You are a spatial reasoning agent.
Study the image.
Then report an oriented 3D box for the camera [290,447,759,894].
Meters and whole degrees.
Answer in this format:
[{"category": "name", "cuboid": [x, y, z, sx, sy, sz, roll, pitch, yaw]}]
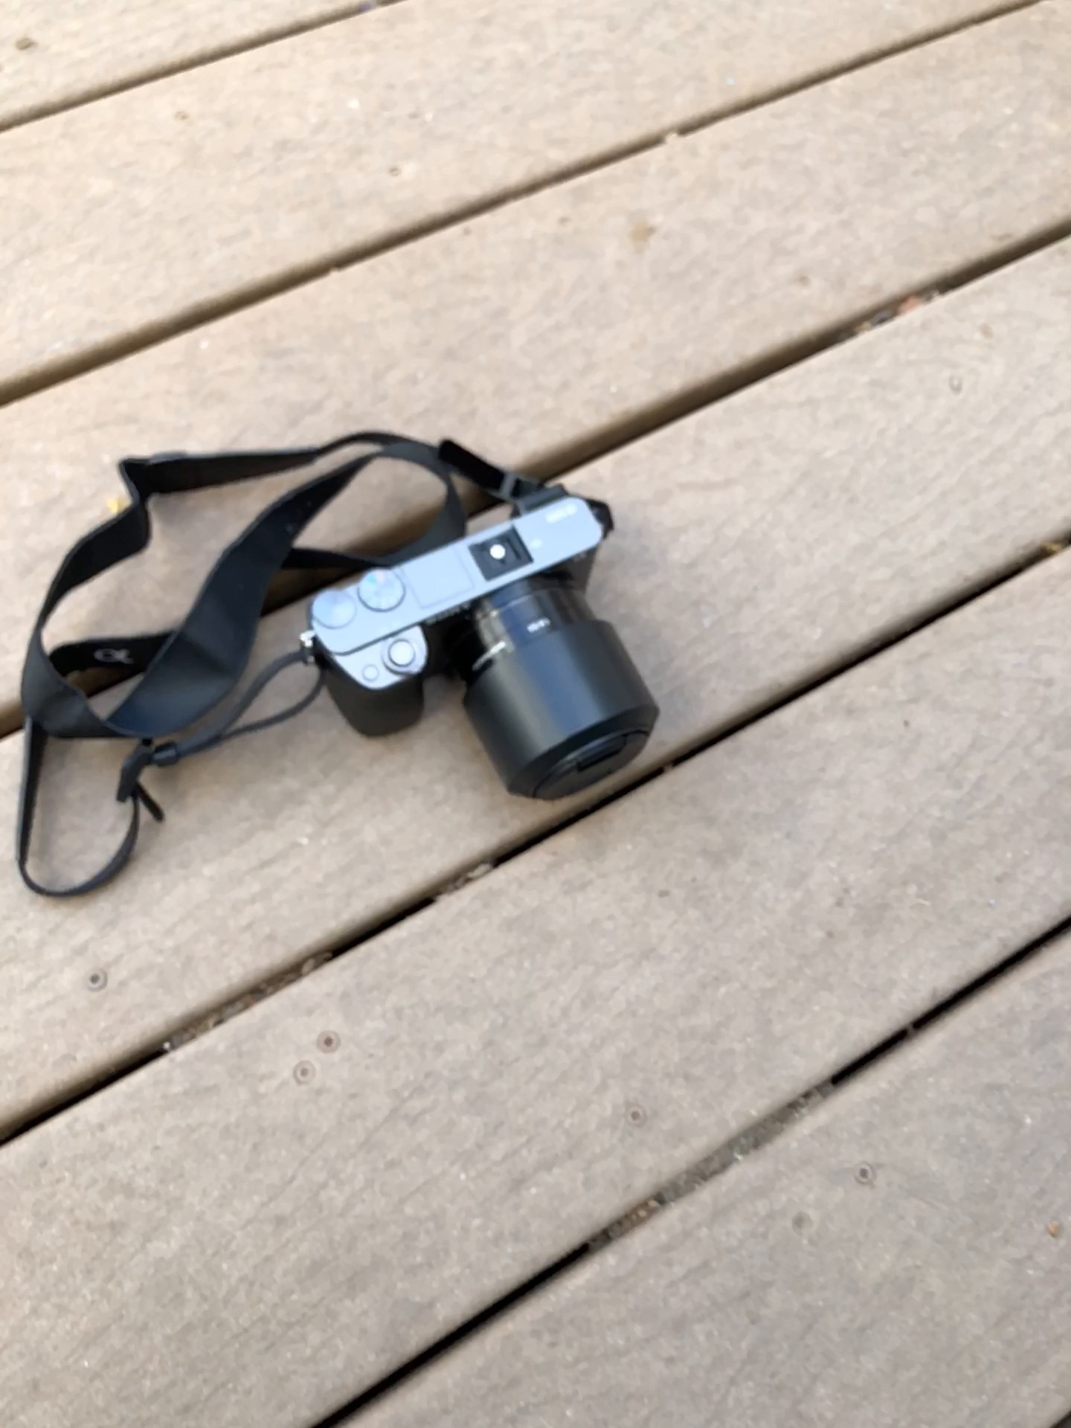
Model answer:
[{"category": "camera", "cuboid": [-0.007, -0.016, 0.455, 0.130, 0.070, 0.110, -25, 74, -15]}]
